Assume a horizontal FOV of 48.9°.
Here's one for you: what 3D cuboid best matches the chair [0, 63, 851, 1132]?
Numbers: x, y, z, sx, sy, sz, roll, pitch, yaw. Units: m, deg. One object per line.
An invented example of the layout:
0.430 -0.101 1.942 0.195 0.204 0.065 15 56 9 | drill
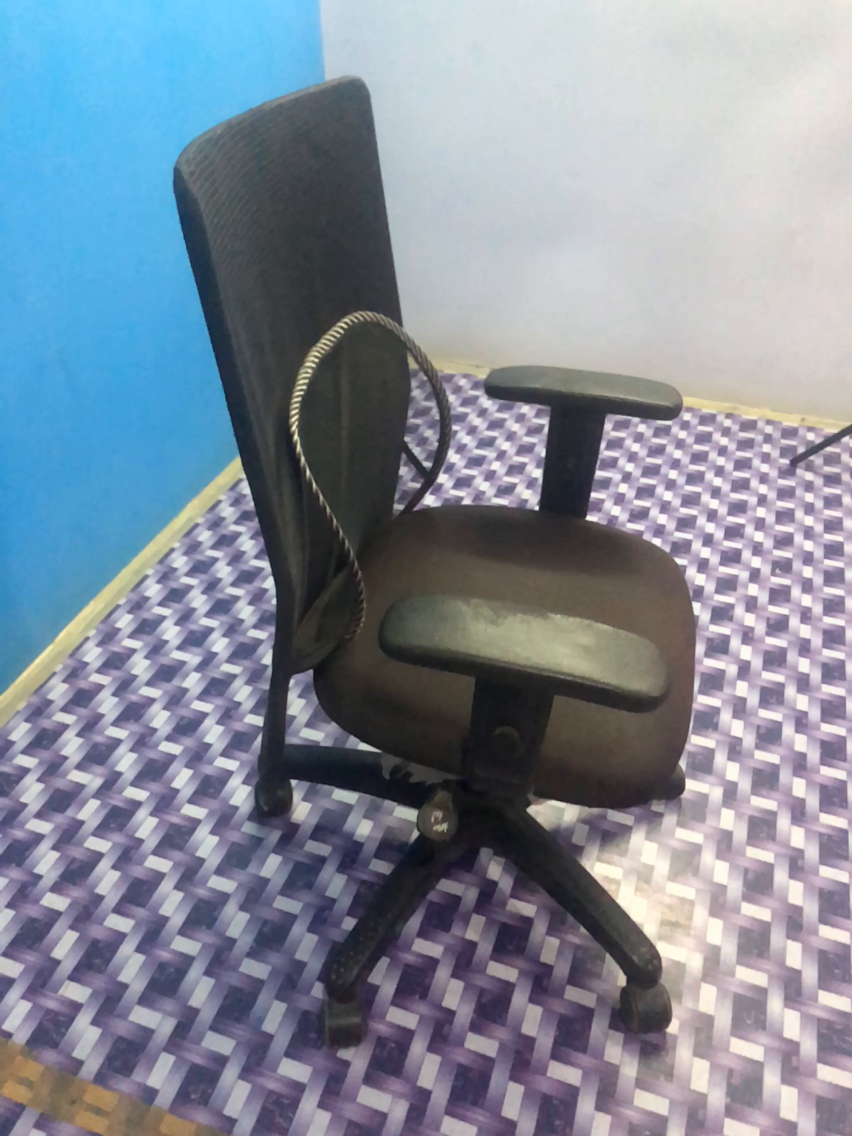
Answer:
0.054 0.001 1.031 0.670 0.885 0.664 6 36 9 | chair
